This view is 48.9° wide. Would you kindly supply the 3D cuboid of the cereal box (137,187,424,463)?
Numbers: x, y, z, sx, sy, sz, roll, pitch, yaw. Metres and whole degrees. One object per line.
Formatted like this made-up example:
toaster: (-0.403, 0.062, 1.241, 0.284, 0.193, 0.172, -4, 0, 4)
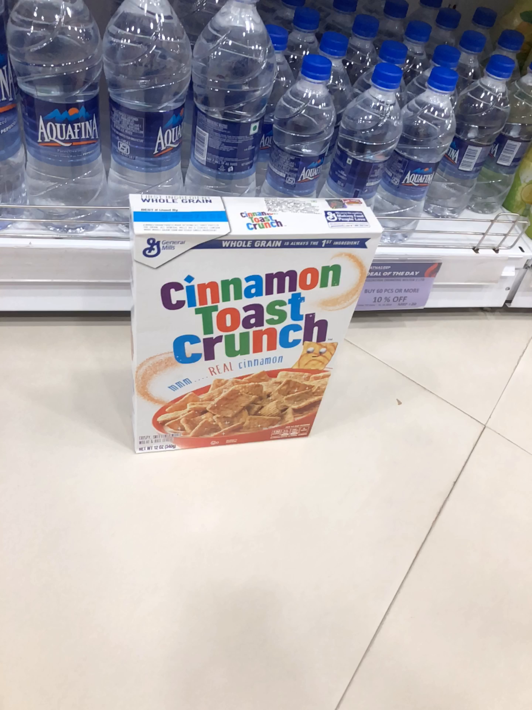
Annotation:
cereal box: (-0.010, -0.012, 0.525, 0.200, 0.278, 0.060, -4, 51, -16)
